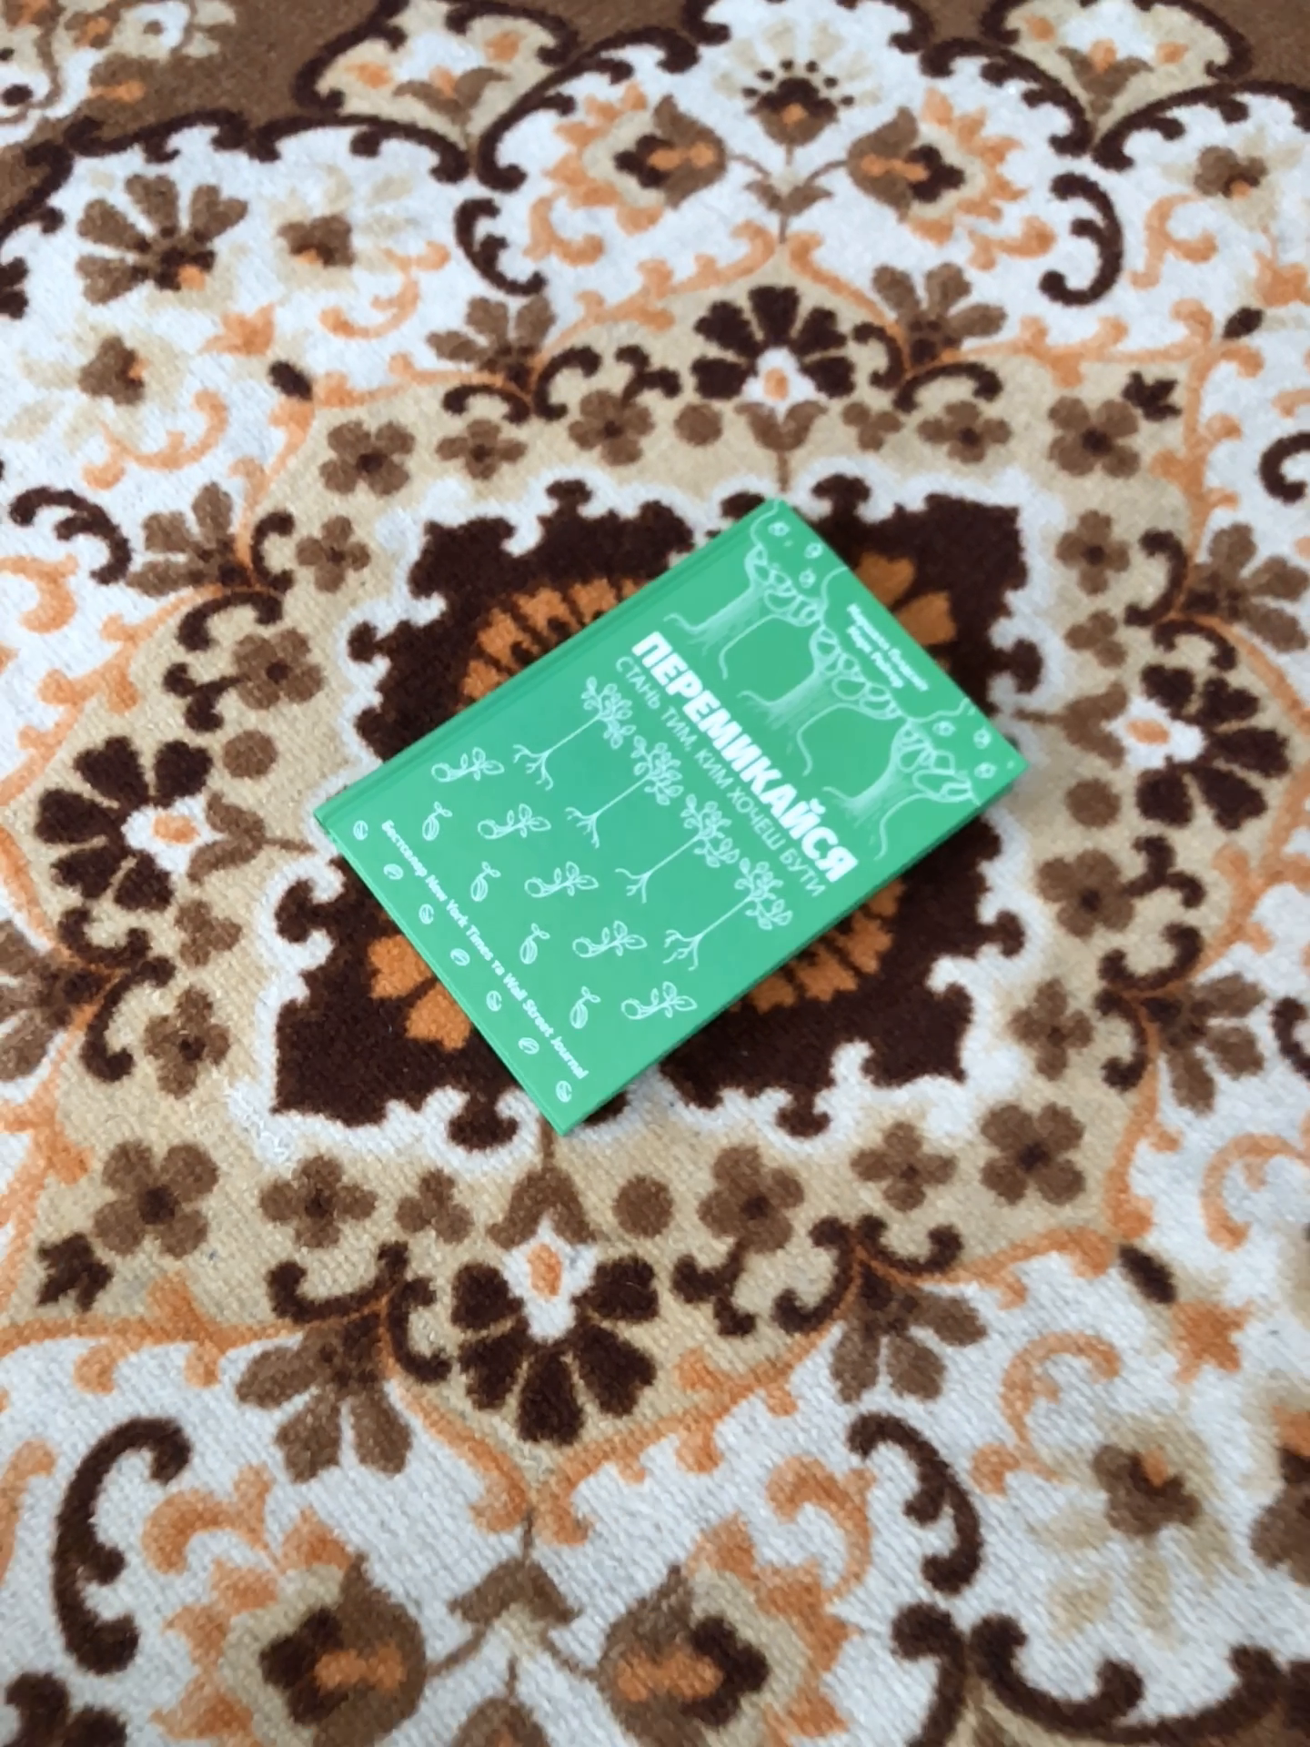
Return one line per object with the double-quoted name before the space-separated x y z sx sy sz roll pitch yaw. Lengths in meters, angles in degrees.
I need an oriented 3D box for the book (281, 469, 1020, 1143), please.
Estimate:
"book" 0.000 -0.029 0.488 0.202 0.023 0.137 -38 77 -13
